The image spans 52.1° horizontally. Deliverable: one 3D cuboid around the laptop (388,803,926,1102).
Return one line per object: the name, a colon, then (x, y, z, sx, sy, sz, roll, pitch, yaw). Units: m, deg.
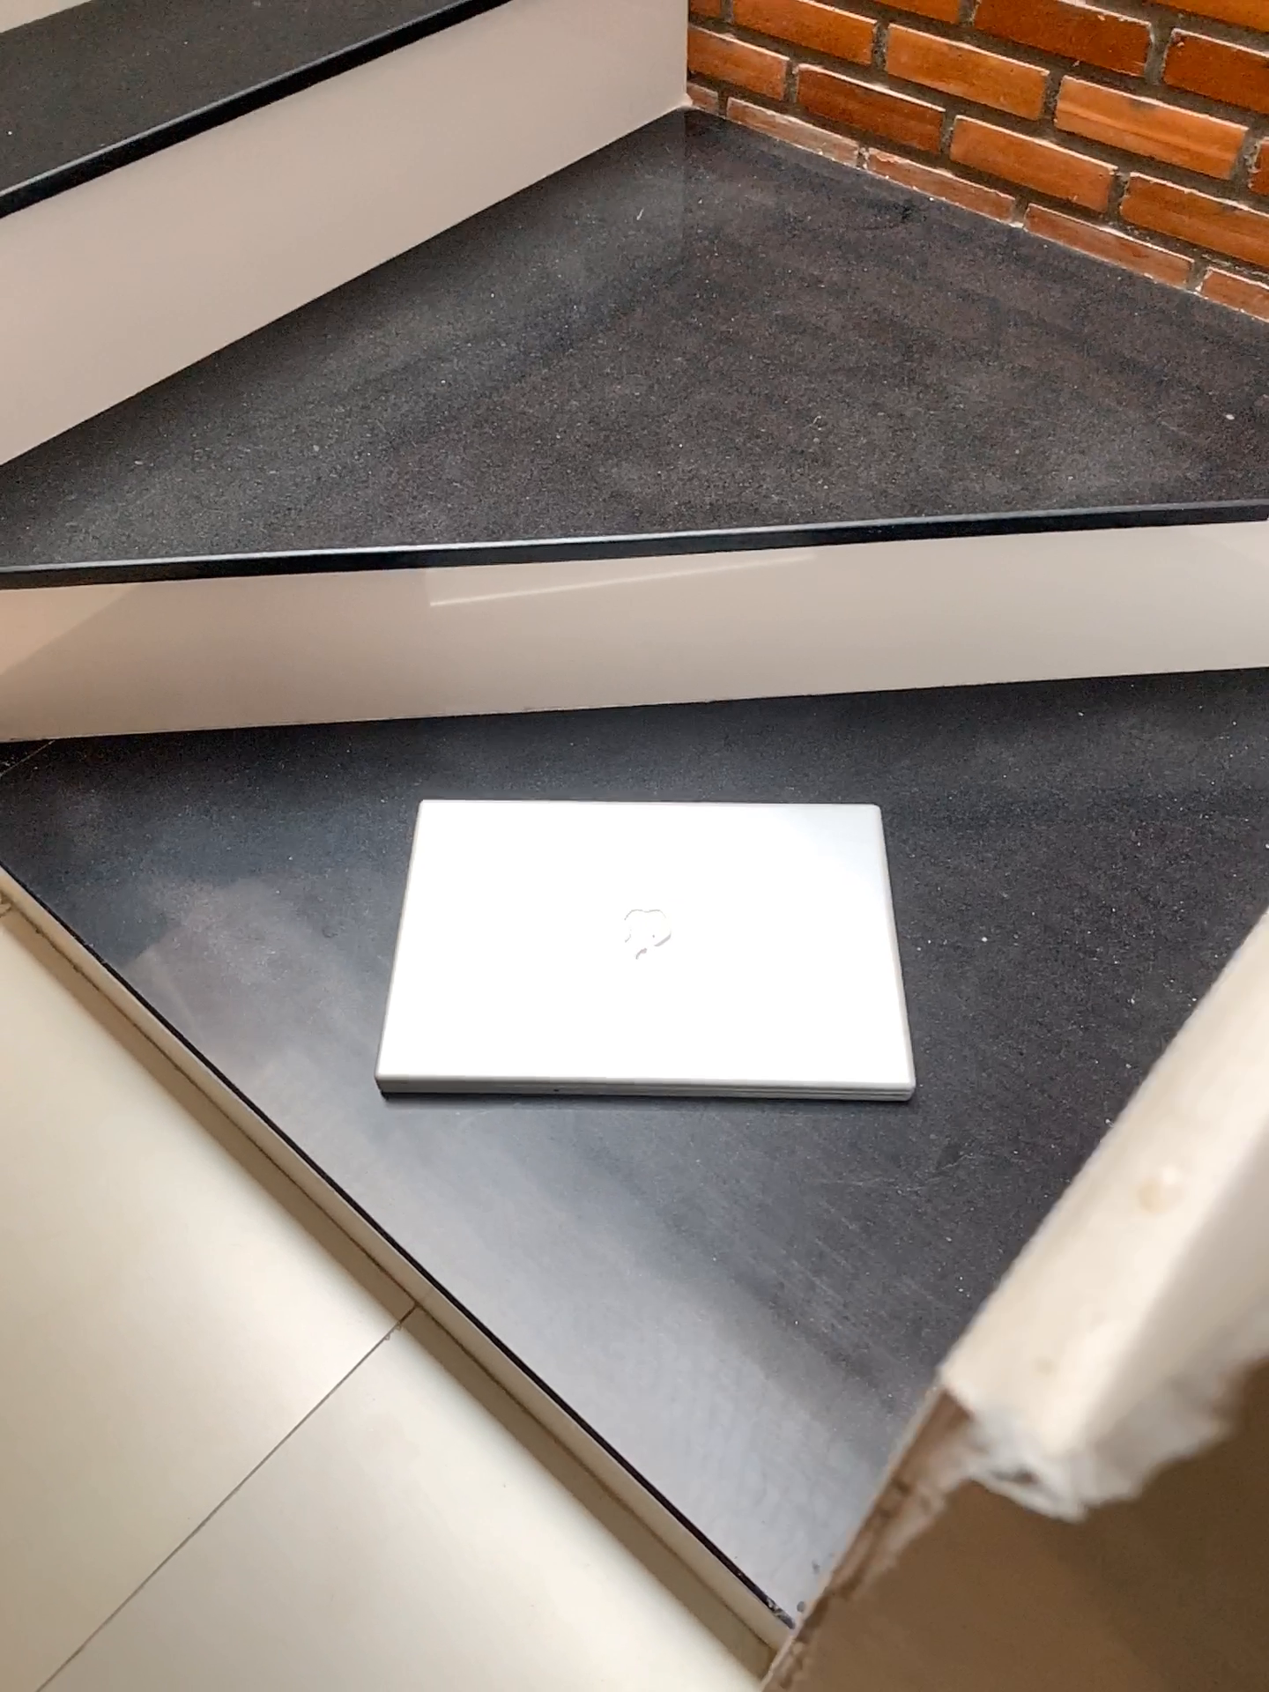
laptop: (0.016, 0.085, 1.151, 0.440, 0.013, 0.293, 0, 54, 1)
